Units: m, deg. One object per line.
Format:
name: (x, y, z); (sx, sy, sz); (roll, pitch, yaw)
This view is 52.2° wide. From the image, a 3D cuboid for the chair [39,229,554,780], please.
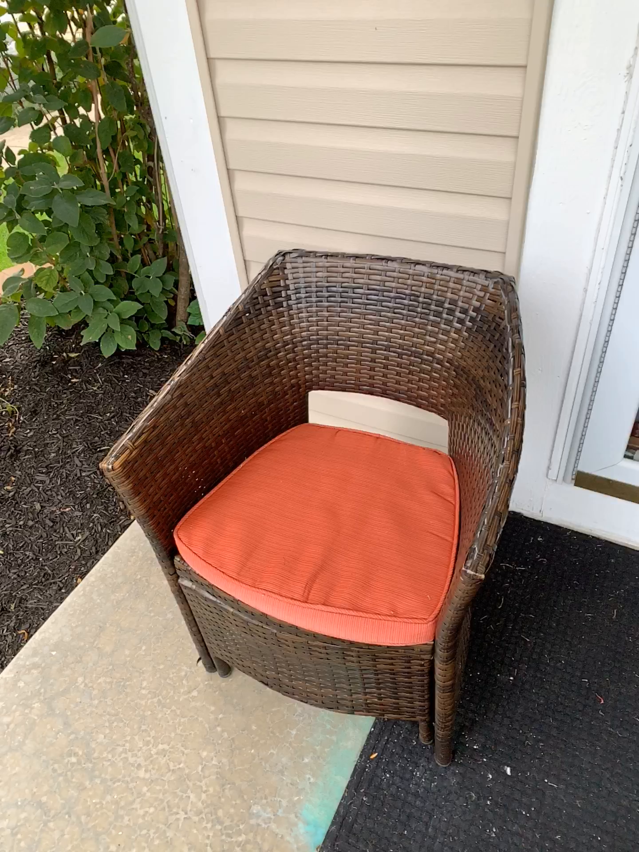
chair: (0.036, 0.128, 1.291); (0.642, 0.757, 0.609); (11, 44, 20)
